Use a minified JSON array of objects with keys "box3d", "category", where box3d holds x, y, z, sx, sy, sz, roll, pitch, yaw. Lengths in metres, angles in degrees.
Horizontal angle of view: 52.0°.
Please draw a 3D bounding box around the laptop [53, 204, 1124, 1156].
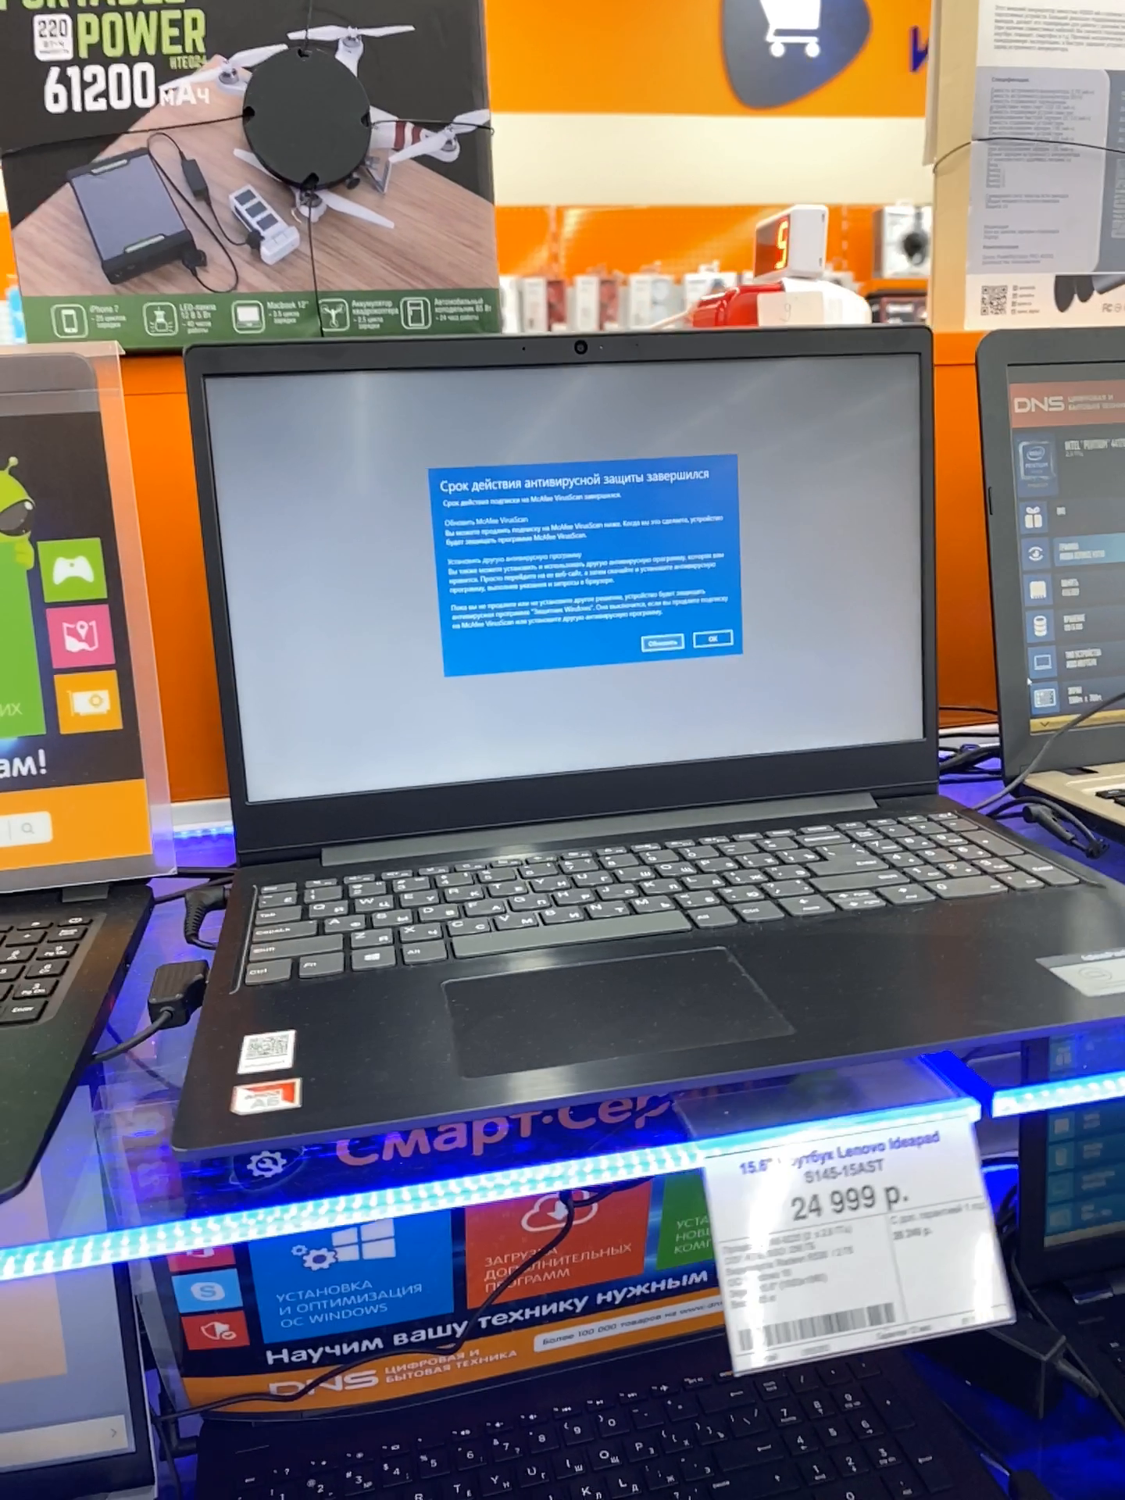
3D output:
[{"box3d":[0.037,-0.051,0.456,0.361,0.240,0.273,-5,13,-10],"category":"laptop"}]
